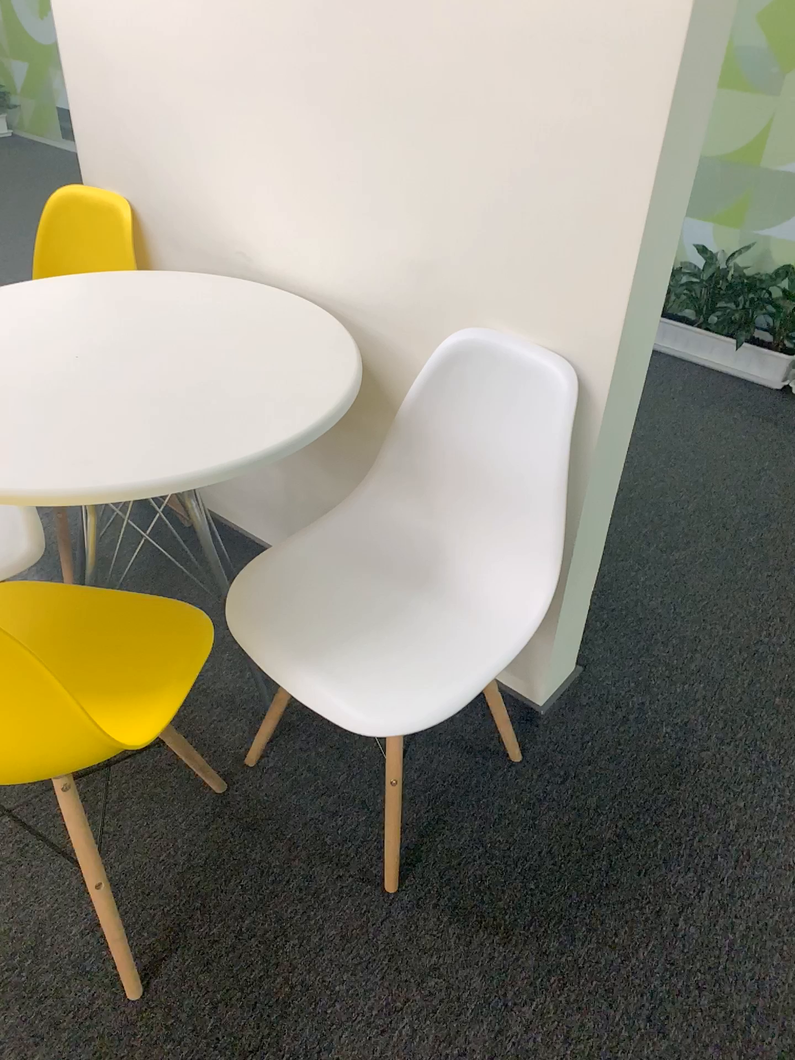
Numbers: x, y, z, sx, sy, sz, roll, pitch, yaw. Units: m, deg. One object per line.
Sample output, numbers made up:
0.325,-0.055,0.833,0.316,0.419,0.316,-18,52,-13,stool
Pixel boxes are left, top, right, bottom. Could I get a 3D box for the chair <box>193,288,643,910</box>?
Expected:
0.014,0.120,1.427,0.481,0.875,0.442,29,43,31,chair
